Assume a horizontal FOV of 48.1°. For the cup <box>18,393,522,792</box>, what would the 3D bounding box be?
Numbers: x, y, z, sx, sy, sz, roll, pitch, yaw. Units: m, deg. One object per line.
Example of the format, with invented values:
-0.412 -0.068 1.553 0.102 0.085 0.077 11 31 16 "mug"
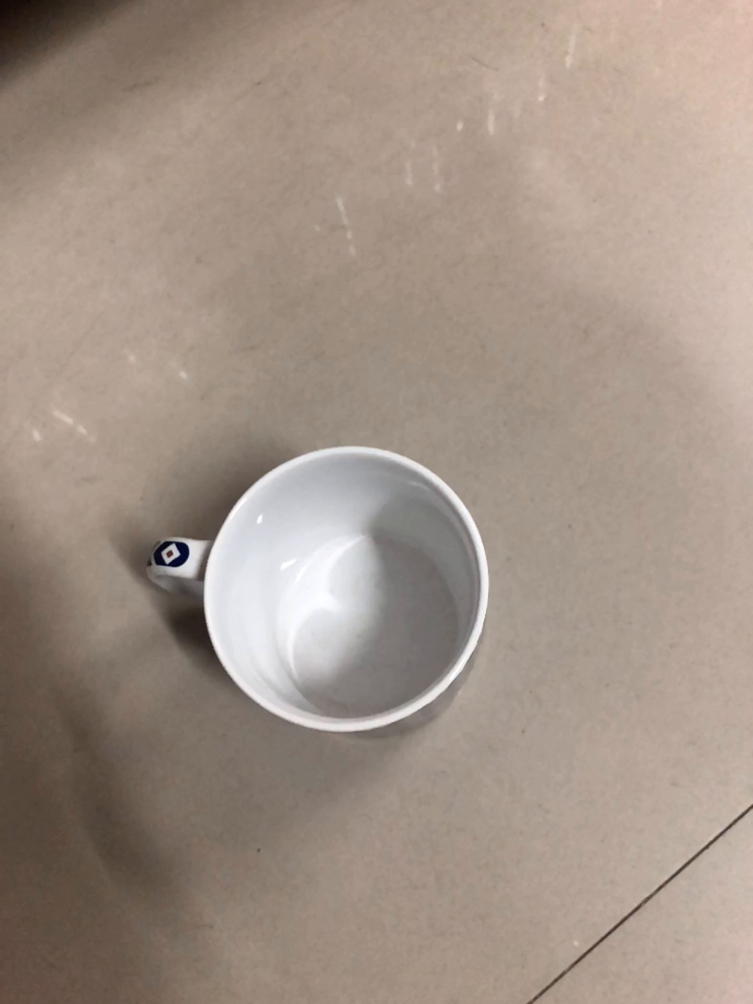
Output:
-0.022 0.030 0.247 0.110 0.080 0.080 11 73 10 "cup"
